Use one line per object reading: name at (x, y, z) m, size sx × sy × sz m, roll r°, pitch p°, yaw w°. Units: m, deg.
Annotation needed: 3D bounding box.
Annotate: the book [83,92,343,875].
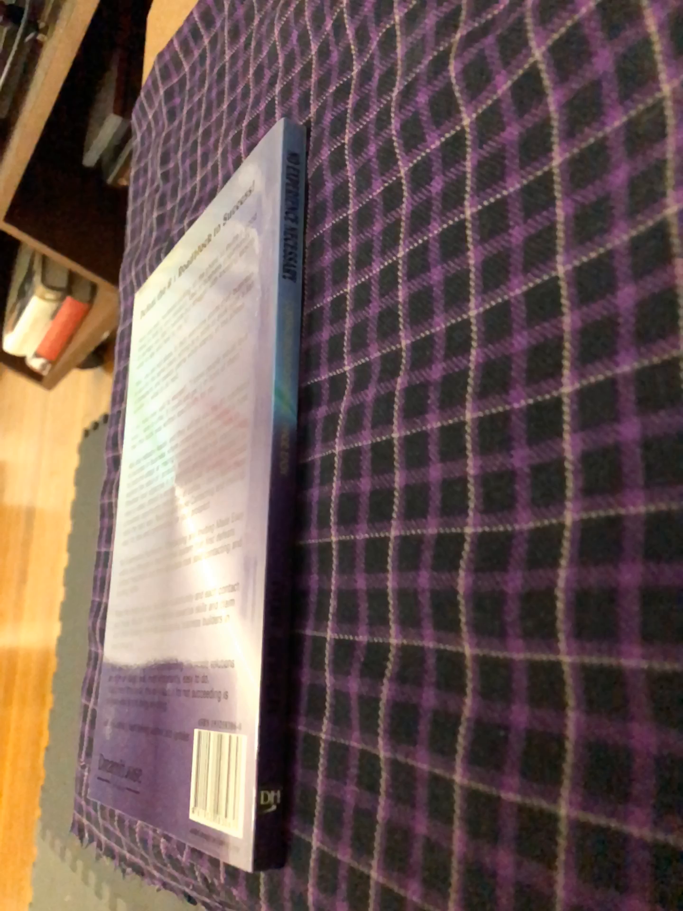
book at (-0.052, 0.012, 0.277) m, size 0.161 × 0.020 × 0.220 m, roll -24°, pitch 61°, yaw 54°
